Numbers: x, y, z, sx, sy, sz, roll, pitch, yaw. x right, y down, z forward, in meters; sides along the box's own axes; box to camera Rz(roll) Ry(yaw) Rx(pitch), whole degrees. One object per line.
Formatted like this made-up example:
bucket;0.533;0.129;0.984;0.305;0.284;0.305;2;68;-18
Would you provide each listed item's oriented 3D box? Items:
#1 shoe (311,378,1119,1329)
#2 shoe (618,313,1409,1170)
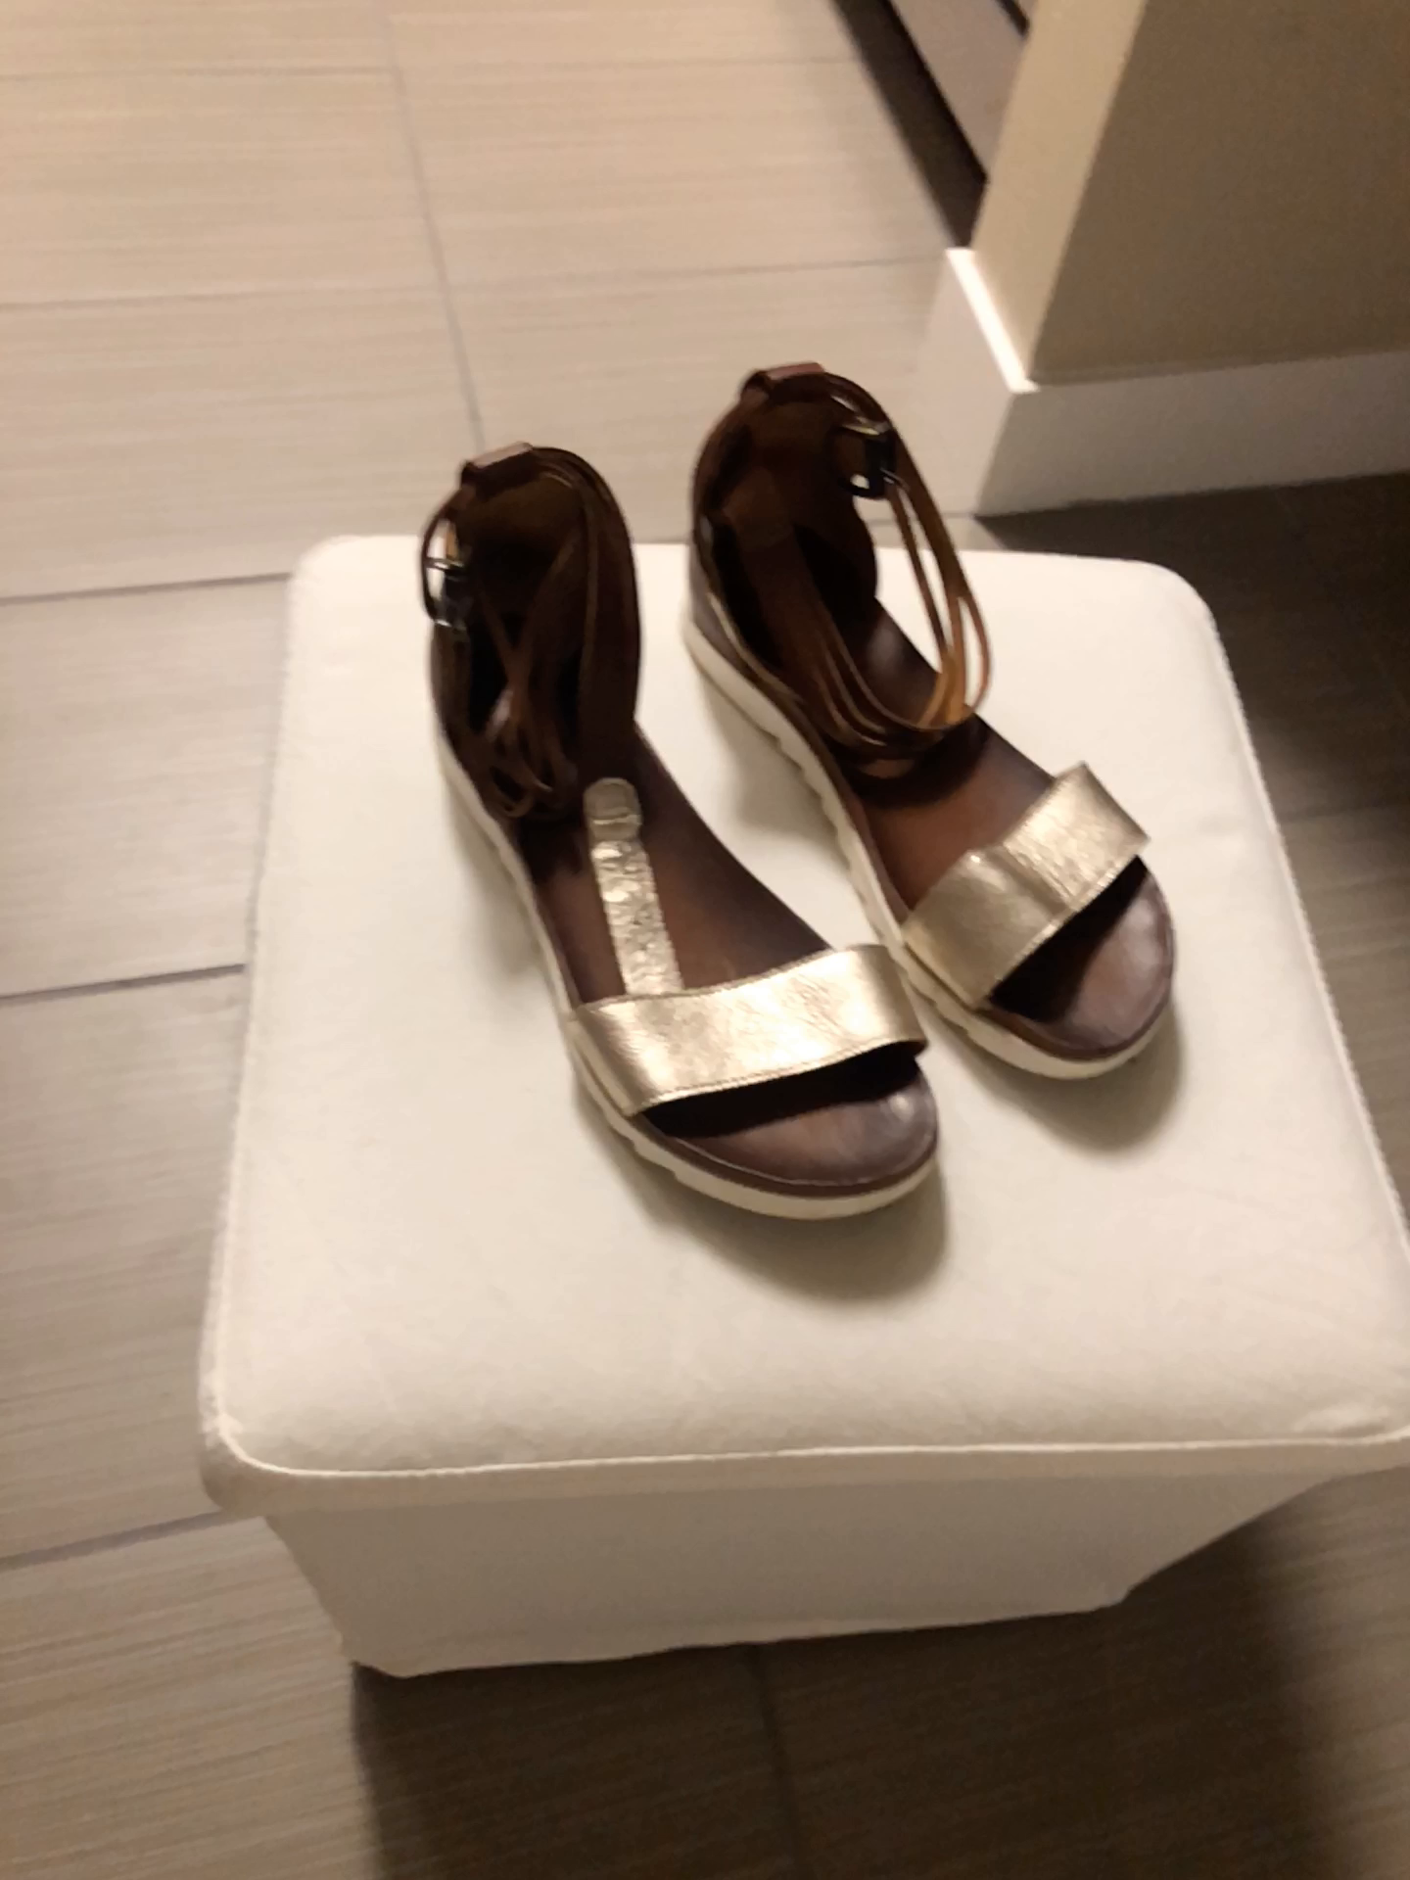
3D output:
shoe;-0.011;-0.037;0.468;0.110;0.090;0.261;-22;63;-19
shoe;0.082;-0.074;0.510;0.110;0.090;0.261;-22;63;-19
